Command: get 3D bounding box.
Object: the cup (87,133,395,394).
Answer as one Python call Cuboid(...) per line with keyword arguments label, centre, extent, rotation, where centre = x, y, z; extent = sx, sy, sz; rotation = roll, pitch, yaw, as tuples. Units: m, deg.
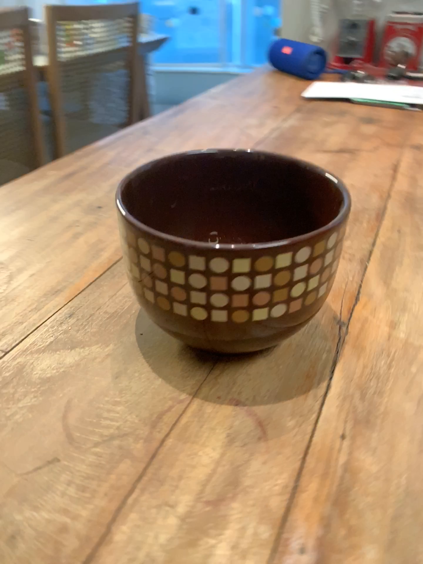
Cuboid(label="cup", centre=(0.011, -0.028, 0.297), extent=(0.140, 0.089, 0.181), rotation=(-2, 34, -2))
